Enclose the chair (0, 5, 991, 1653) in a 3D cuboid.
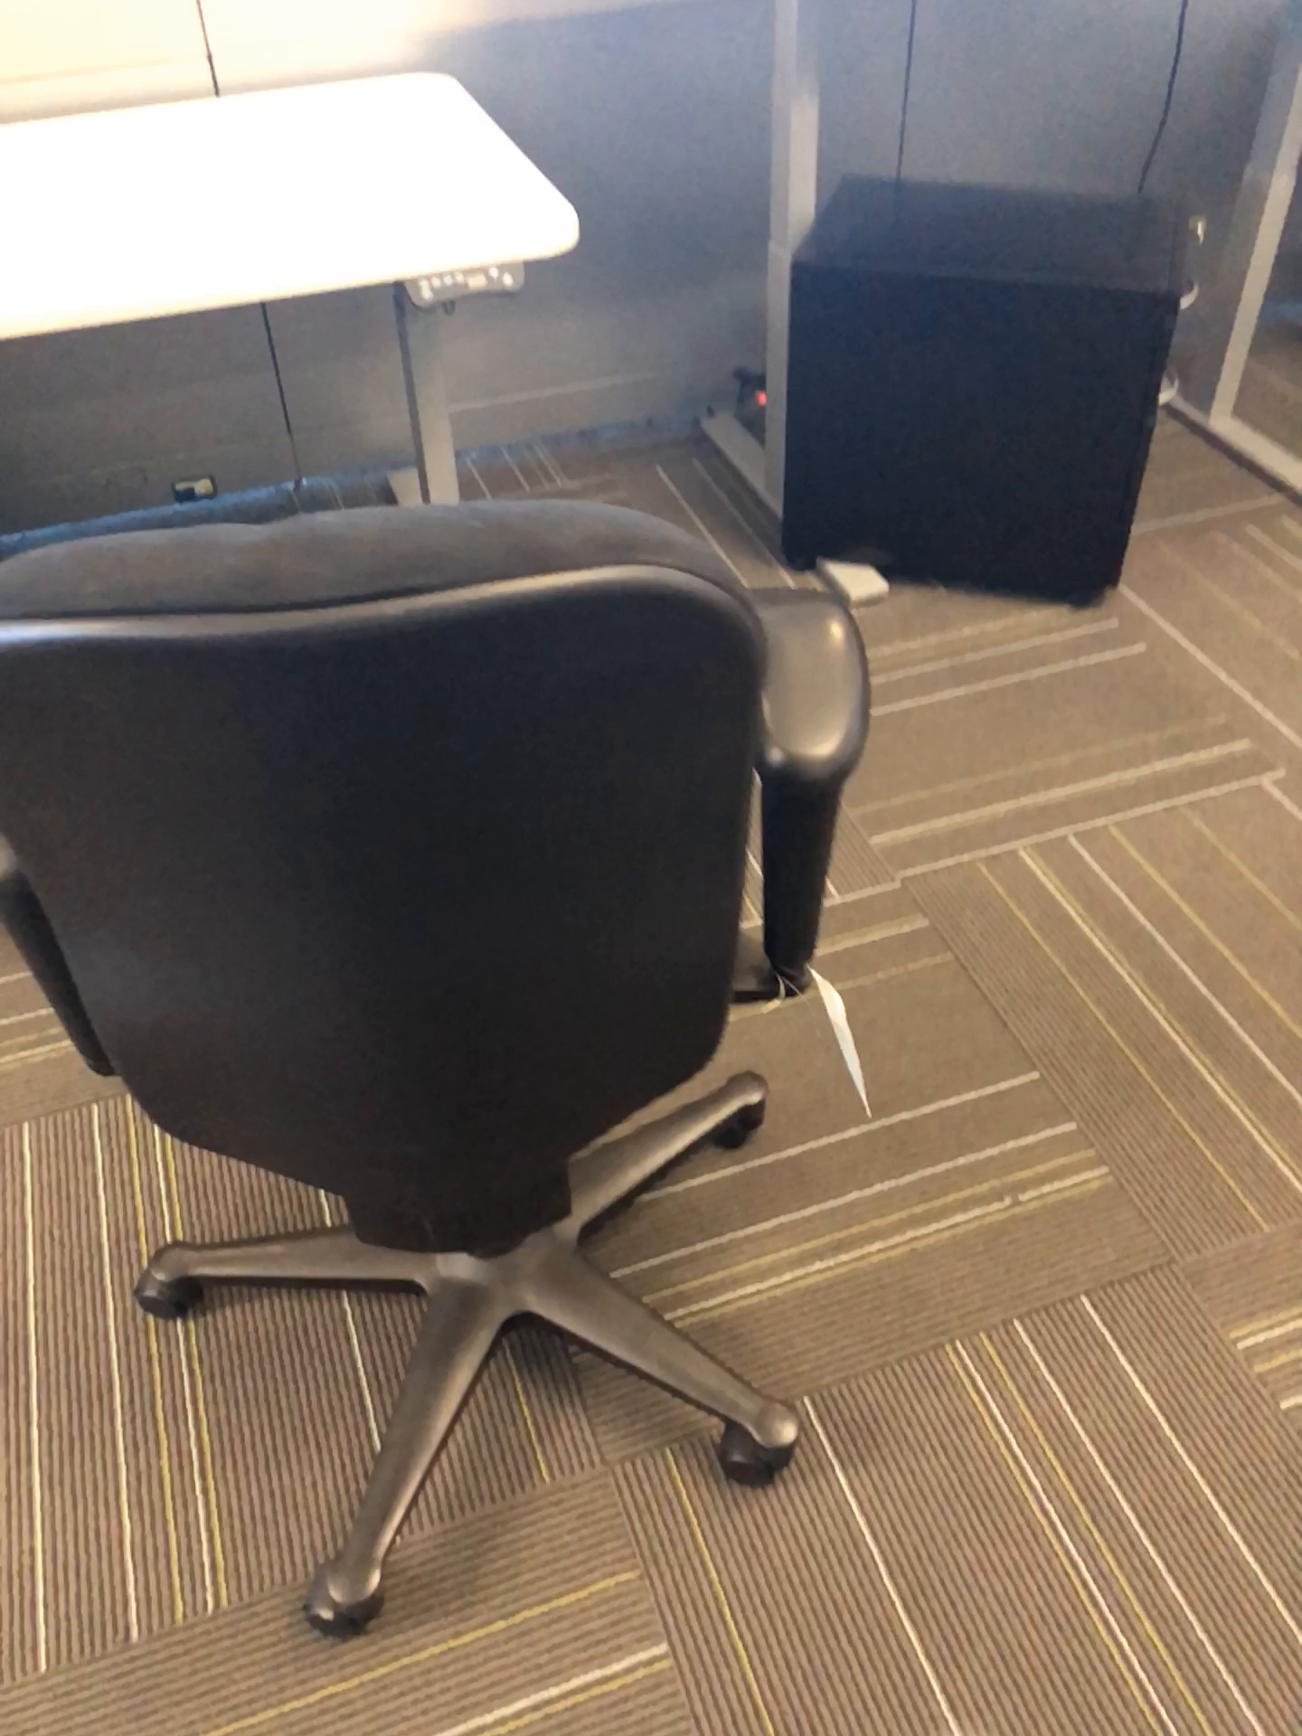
[{"bbox_3d":[-0.229,0.014,1.075,0.700,0.995,0.683,-3,42,0],"label":"chair"}]
